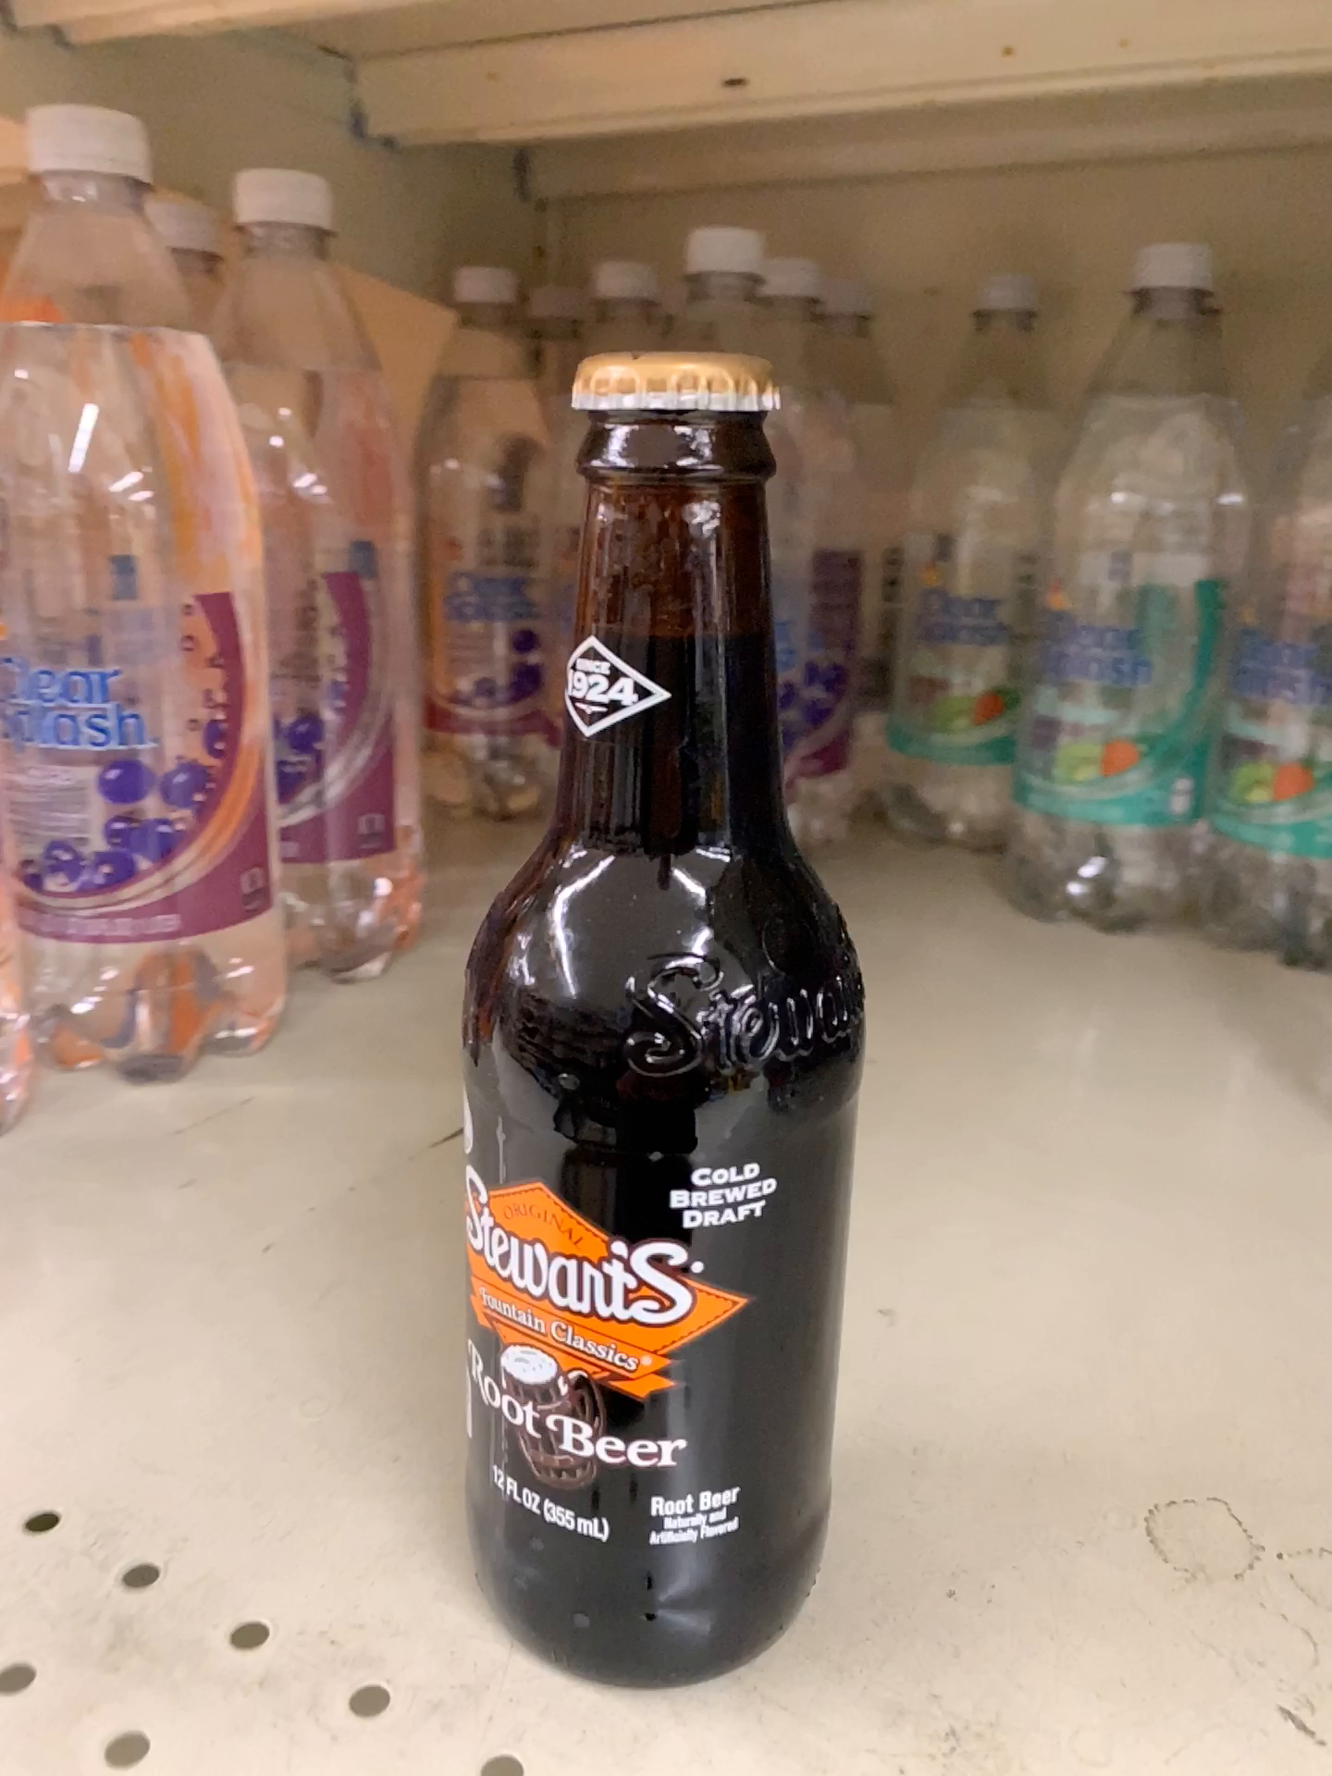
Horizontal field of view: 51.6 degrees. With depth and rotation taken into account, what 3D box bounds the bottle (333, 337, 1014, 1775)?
[{"bbox_3d":[0.000,0.027,0.218,0.070,0.207,0.060,14,22,35],"label":"bottle"}]
